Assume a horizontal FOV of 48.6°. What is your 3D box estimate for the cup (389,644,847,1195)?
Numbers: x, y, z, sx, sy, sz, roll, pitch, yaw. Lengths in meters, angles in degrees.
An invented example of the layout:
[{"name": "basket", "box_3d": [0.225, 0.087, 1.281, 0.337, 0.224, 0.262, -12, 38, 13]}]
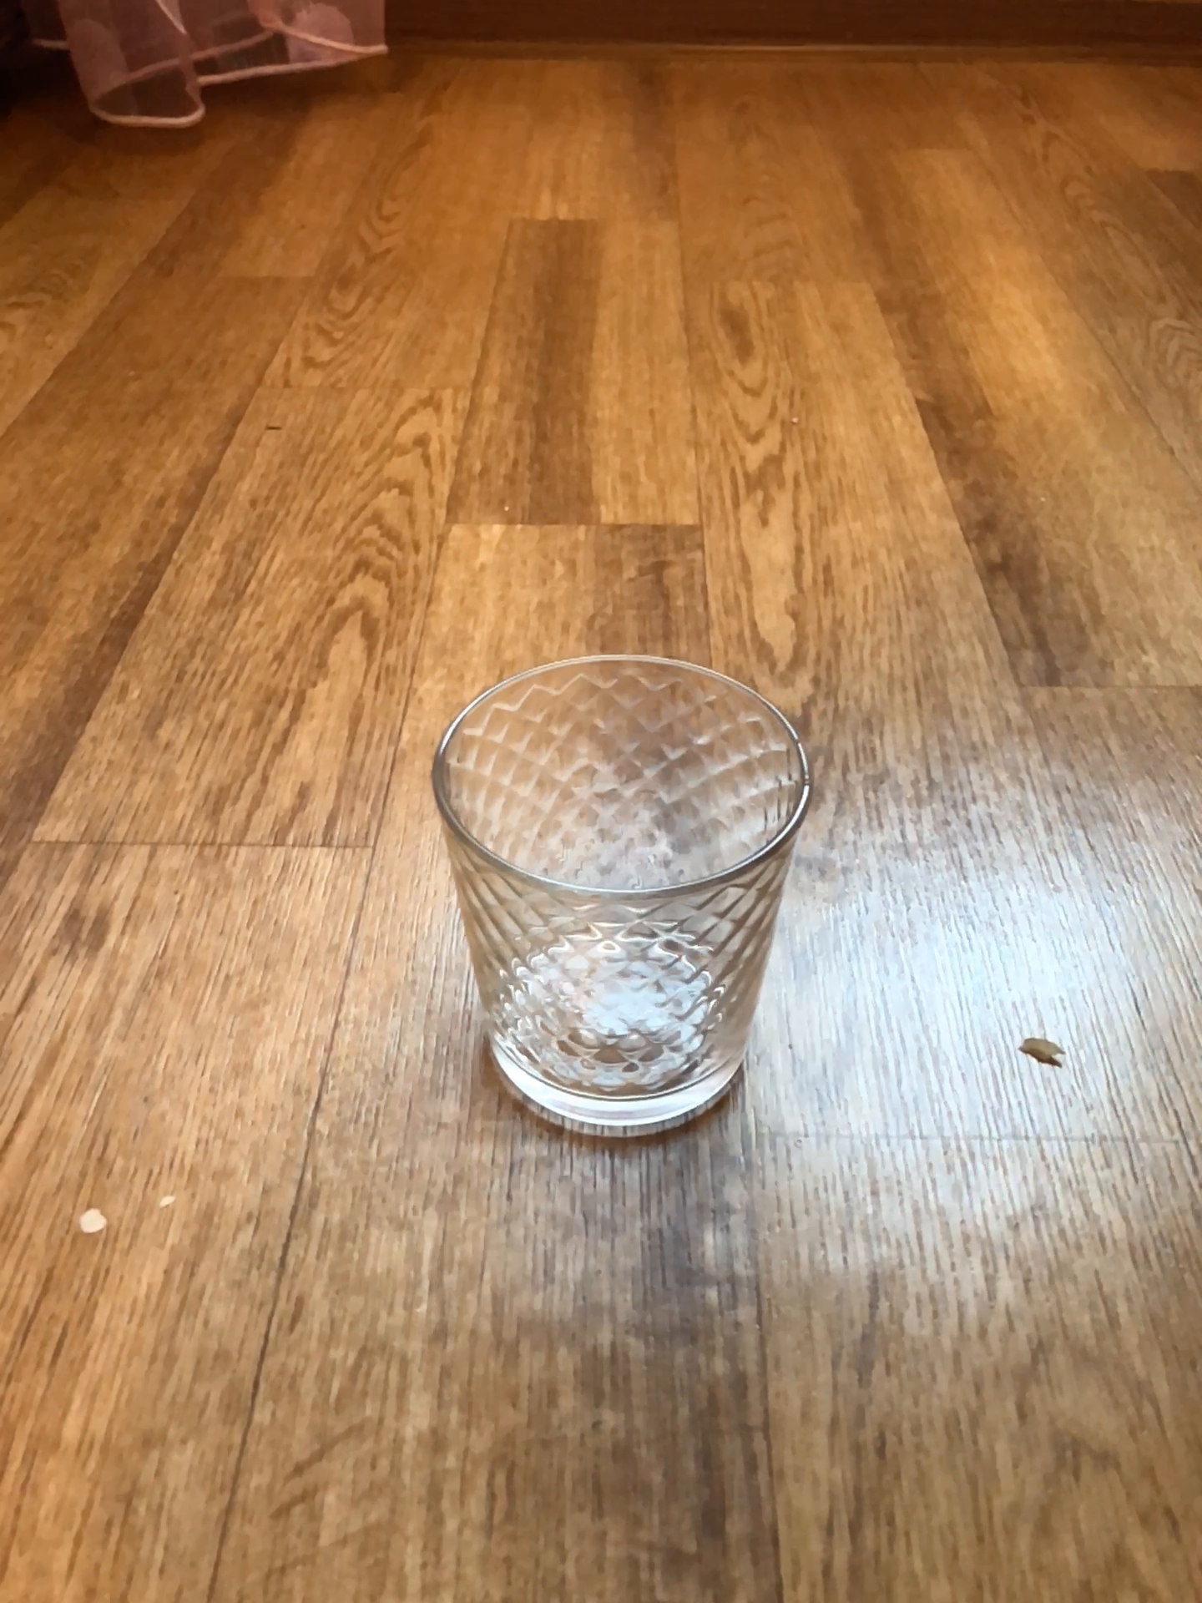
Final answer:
[{"name": "cup", "box_3d": [0.003, 0.026, 0.292, 0.080, 0.090, 0.080, 0, 41, 0]}]
